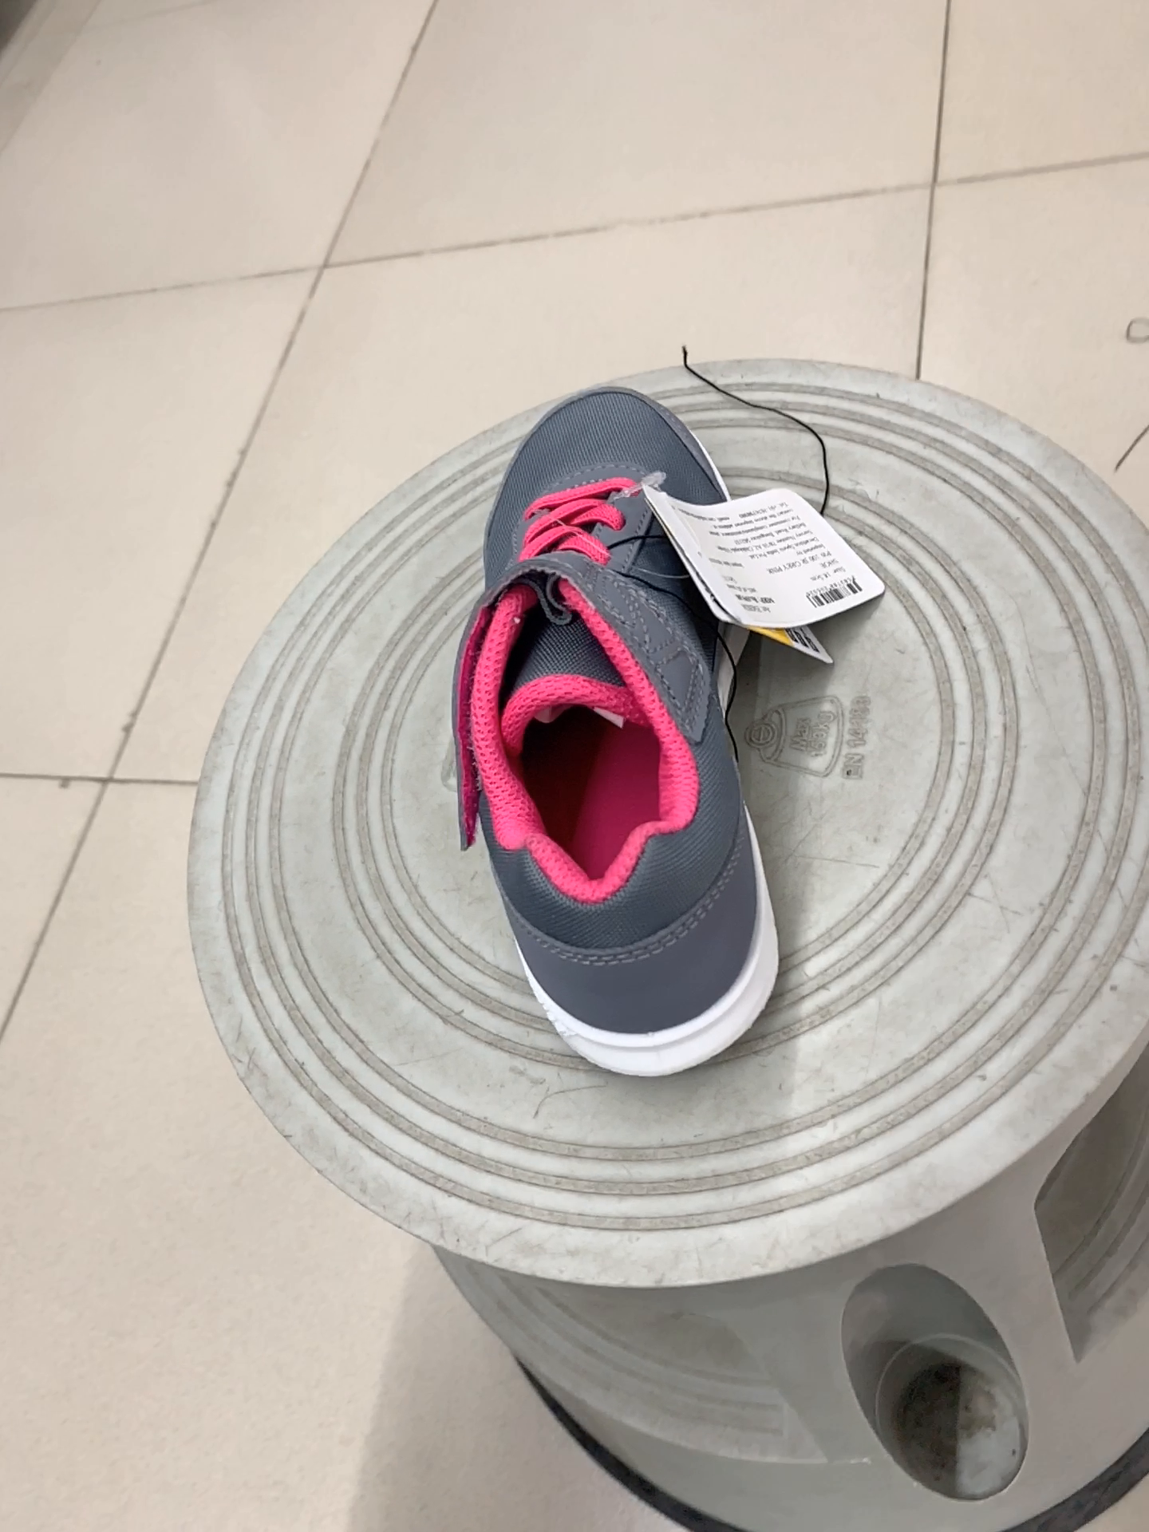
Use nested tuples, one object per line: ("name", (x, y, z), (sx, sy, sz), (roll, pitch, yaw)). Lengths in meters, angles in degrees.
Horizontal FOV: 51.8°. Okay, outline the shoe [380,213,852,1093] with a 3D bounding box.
("shoe", (0.010, -0.026, 0.271), (0.070, 0.090, 0.170), (-11, 57, 13))
